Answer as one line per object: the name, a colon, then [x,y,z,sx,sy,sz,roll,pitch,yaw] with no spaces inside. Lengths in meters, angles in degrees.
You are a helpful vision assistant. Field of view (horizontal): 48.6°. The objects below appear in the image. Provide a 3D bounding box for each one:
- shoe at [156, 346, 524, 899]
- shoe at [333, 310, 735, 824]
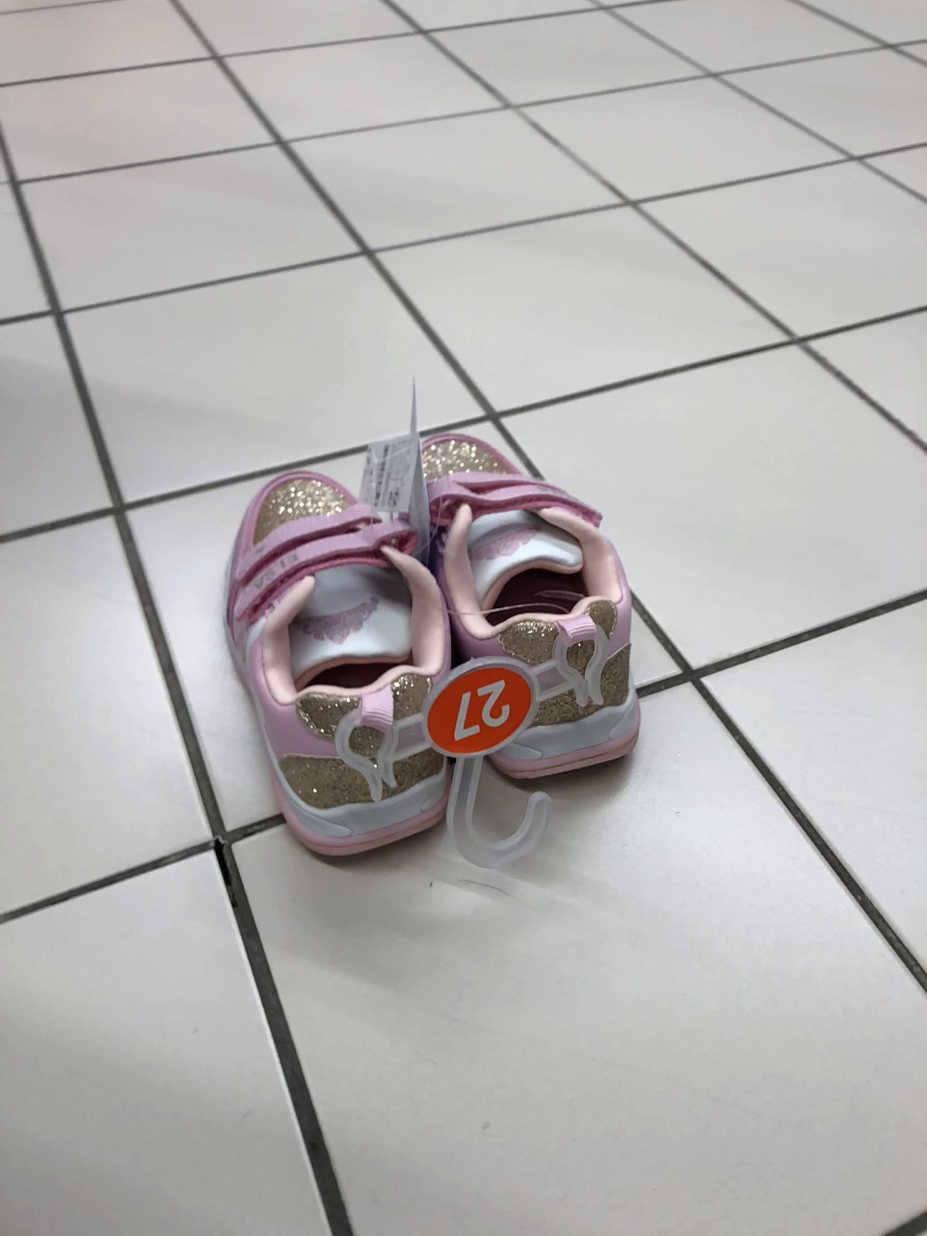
shoe: [-0.054,-0.010,0.395,0.083,0.087,0.195,-14,48,-14]
shoe: [0.016,-0.032,0.417,0.083,0.087,0.195,-14,48,-14]
